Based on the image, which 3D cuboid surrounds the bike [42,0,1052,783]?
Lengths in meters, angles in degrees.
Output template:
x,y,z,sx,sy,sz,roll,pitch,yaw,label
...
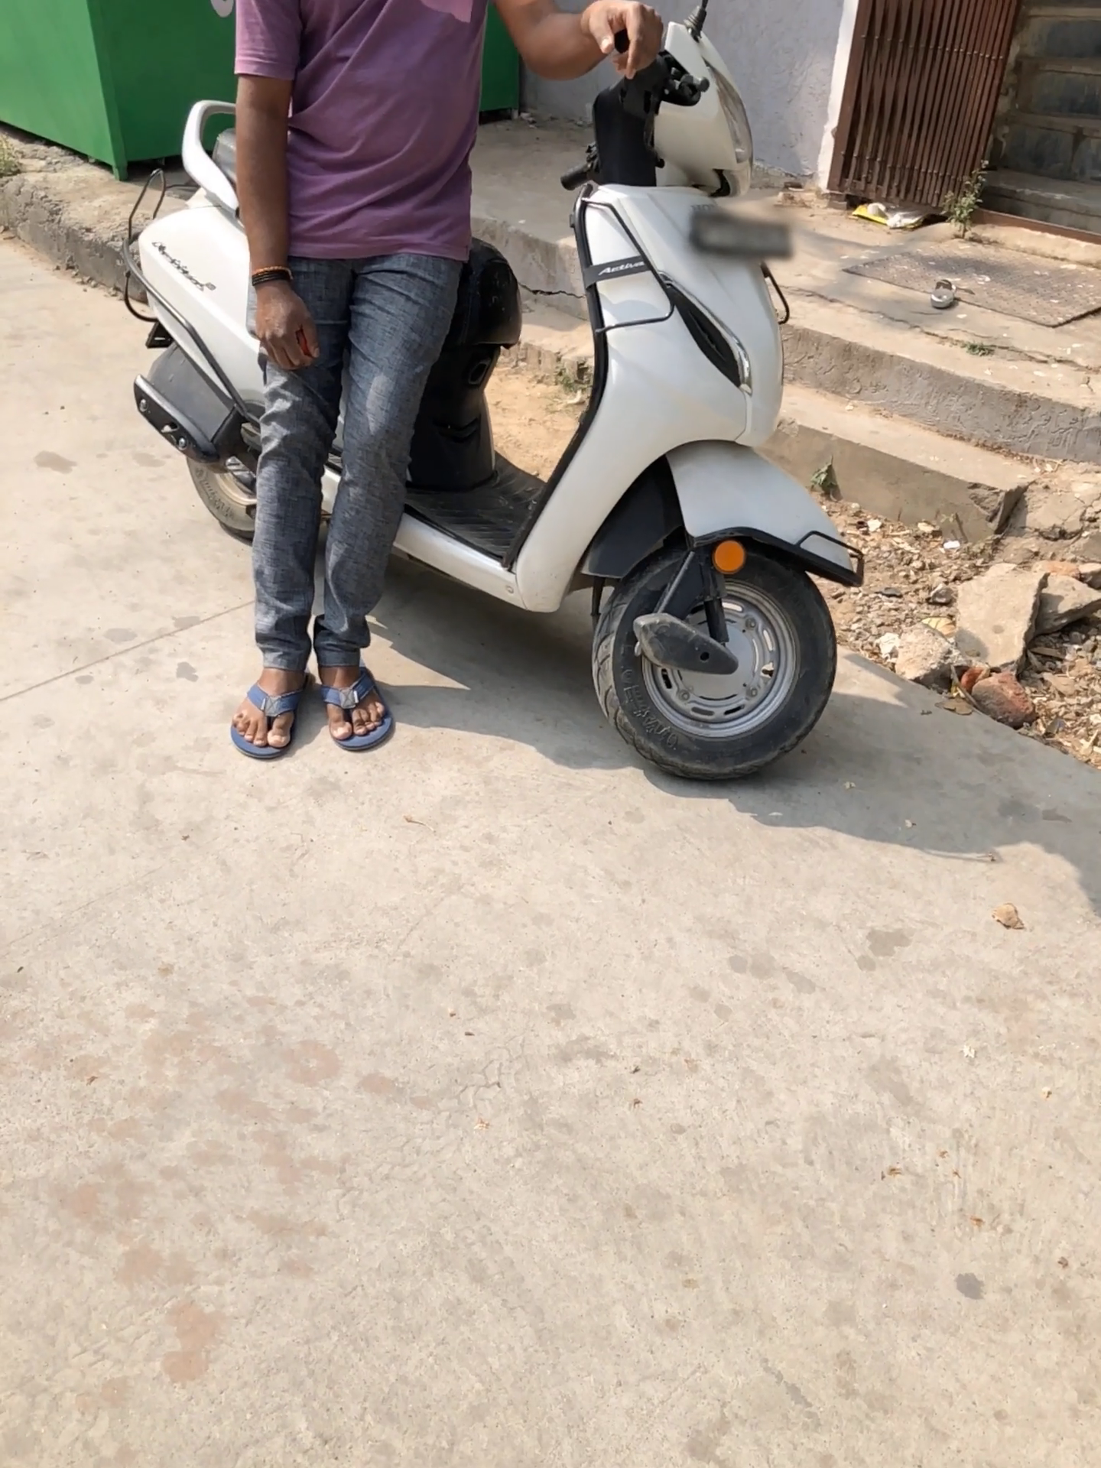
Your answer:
x,y,z,sx,sy,sz,roll,pitch,yaw,label
-0.066,-0.752,2.256,1.521,1.007,0.651,23,40,26,bike
